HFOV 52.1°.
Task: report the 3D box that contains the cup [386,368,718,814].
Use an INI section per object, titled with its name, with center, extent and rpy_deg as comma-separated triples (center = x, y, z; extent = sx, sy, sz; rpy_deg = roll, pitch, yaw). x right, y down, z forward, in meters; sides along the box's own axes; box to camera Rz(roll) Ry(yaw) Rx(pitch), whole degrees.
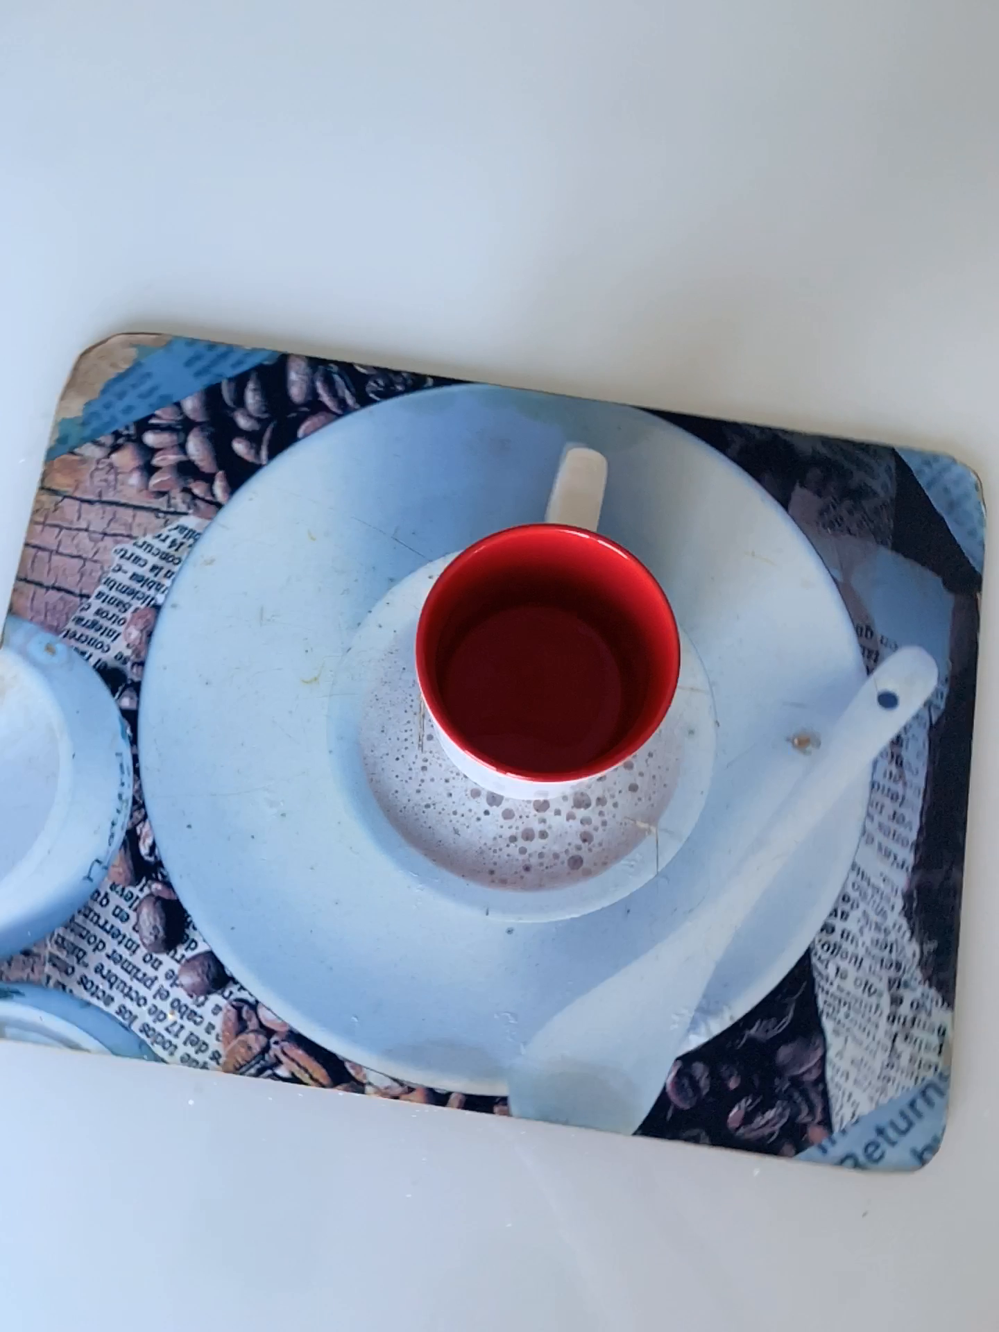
[cup]
center = 0.016, -0.016, 0.355
extent = 0.077, 0.115, 0.117
rpy_deg = 11, 80, 1
